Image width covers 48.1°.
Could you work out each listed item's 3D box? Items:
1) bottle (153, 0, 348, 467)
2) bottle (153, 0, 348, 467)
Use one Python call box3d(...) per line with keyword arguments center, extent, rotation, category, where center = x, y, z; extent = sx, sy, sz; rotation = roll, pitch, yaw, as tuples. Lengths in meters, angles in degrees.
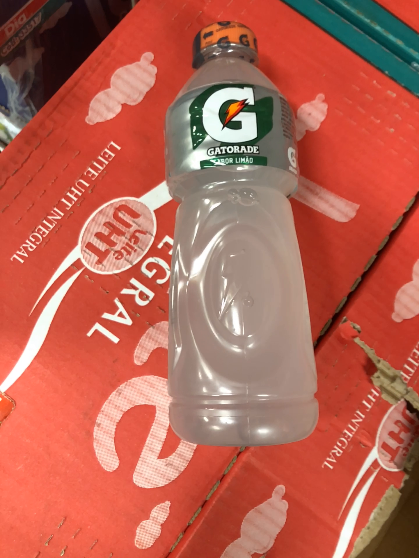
box3d(center=(0.012, -0.028, 0.227), extent=(0.070, 0.060, 0.210), rotation=(-2, 79, -4), category="bottle")
box3d(center=(0.012, -0.028, 0.227), extent=(0.070, 0.060, 0.210), rotation=(-2, 79, -4), category="bottle")
